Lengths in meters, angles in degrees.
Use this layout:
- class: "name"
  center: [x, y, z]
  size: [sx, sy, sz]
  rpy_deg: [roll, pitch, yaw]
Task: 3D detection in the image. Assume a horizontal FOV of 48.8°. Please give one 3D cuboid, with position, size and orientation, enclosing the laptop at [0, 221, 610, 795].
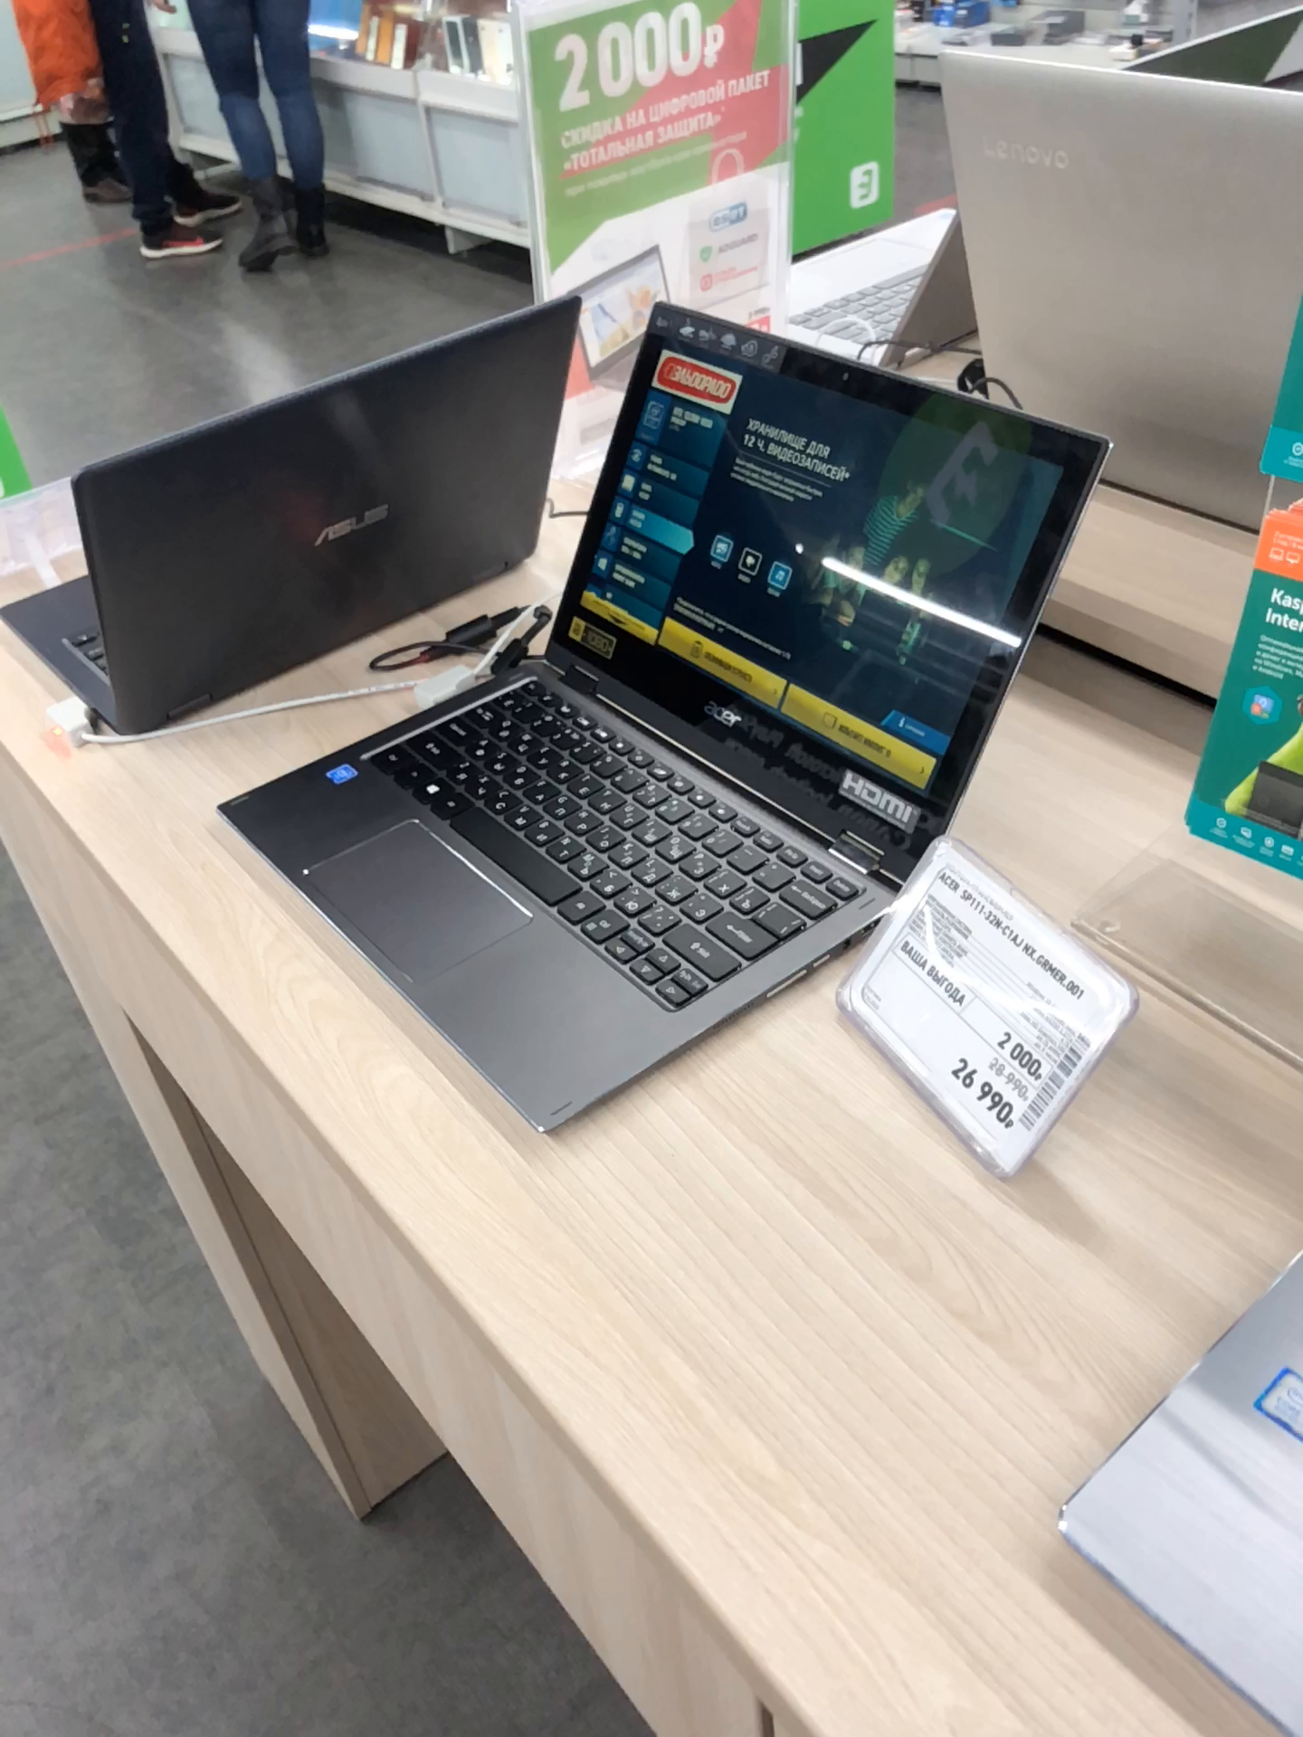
- class: "laptop"
  center: [-0.229, -0.232, 0.841]
  size: [0.275, 0.174, 0.288]
  rpy_deg: [-30, 44, -26]

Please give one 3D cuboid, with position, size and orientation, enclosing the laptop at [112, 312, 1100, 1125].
- class: "laptop"
  center: [-0.019, -0.099, 0.651]
  size: [0.303, 0.168, 0.288]
  rpy_deg: [-29, 43, -26]
